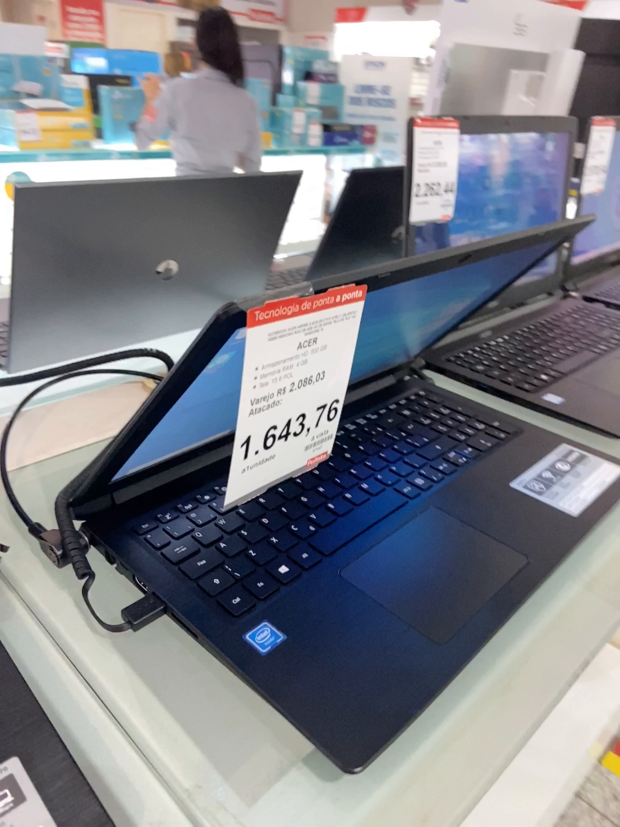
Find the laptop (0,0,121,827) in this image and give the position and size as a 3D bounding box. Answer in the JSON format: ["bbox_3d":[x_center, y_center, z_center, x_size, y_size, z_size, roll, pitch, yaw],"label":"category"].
[{"bbox_3d":[-0.325,0.052,0.174,0.401,0.232,0.326,-19,36,-39],"label":"laptop"}]

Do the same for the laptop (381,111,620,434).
[{"bbox_3d":[0.337,-0.194,0.742,0.400,0.247,0.284,-21,36,-41],"label":"laptop"}]

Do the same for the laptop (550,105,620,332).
[{"bbox_3d":[0.600,-0.329,0.995,0.324,0.241,0.284,-21,35,-35],"label":"laptop"}]

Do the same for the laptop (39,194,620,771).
[{"bbox_3d":[0.067,-0.023,0.438,0.239,0.185,0.380,26,35,37],"label":"laptop"}]
